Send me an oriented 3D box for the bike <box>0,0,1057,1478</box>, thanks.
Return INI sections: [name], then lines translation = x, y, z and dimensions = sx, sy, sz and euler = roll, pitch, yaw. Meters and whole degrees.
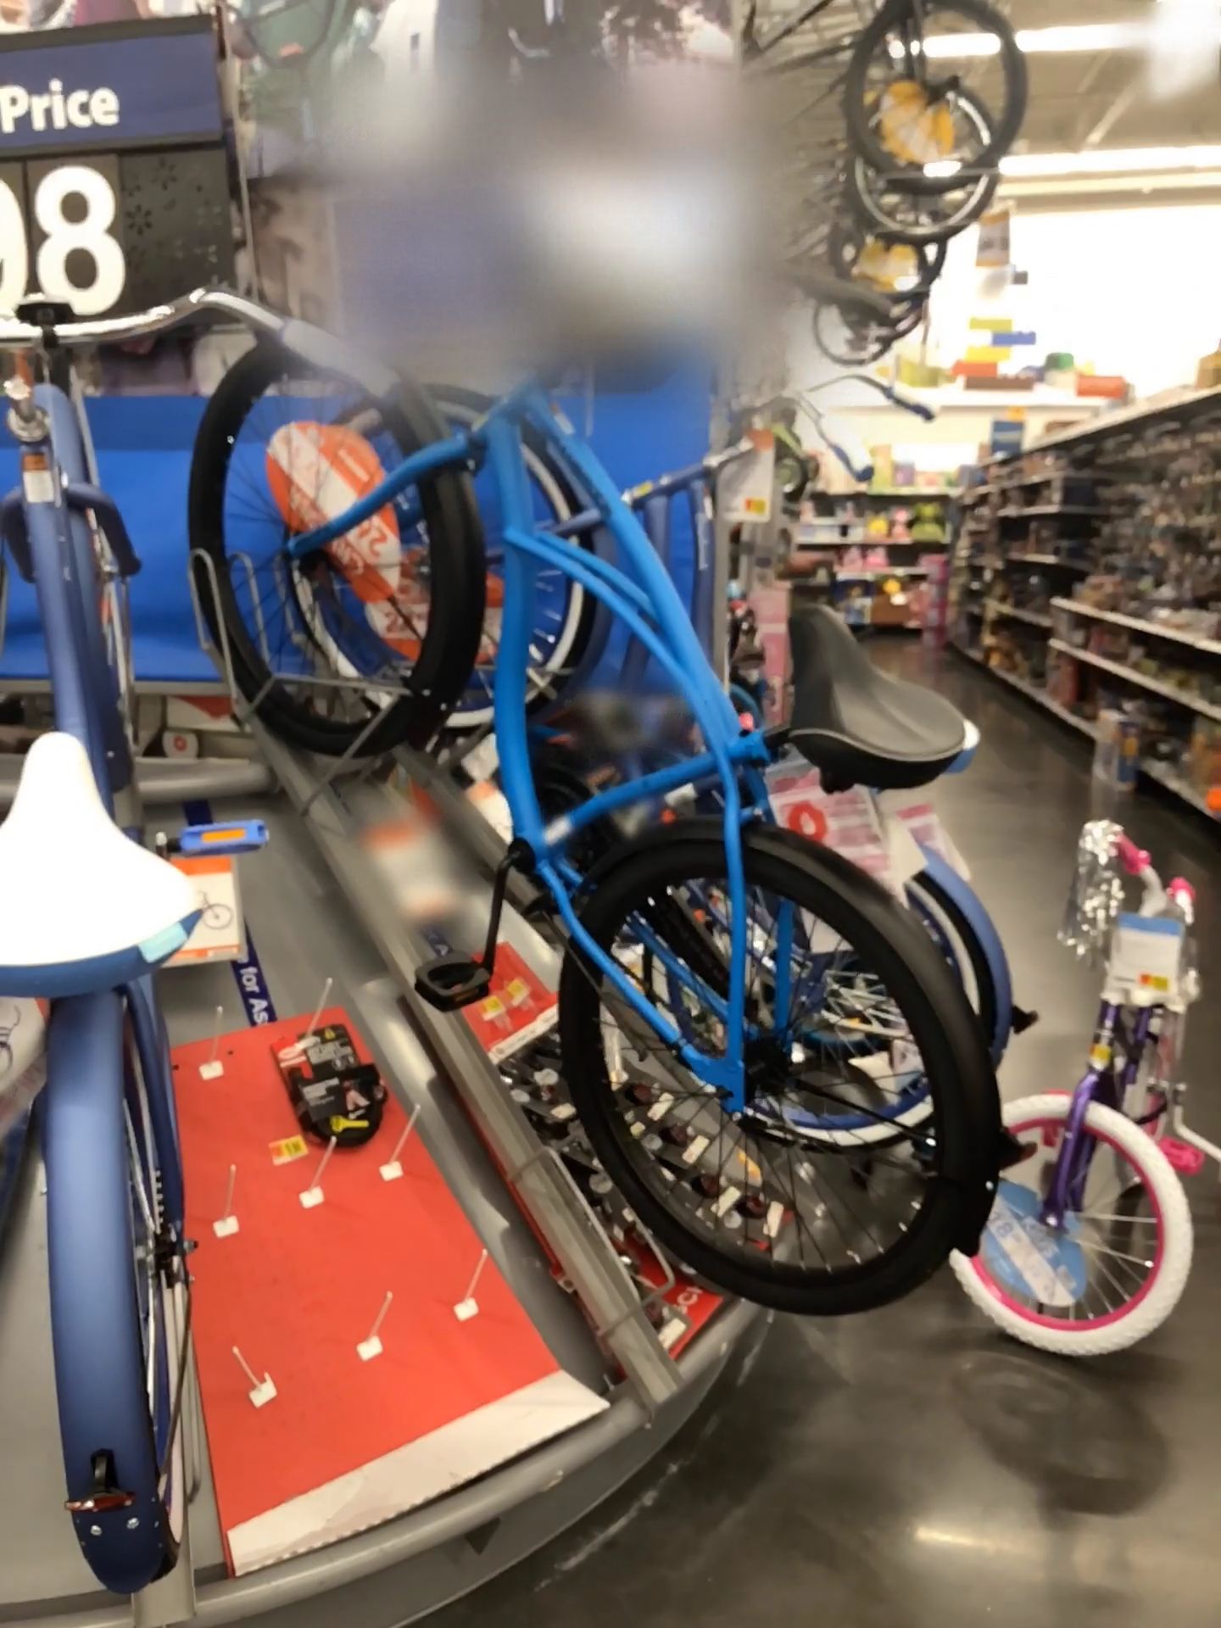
[bike]
translation = -0.133, -0.550, 1.727
dimensions = 1.561, 1.122, 0.505
euler = 36, 28, 25
